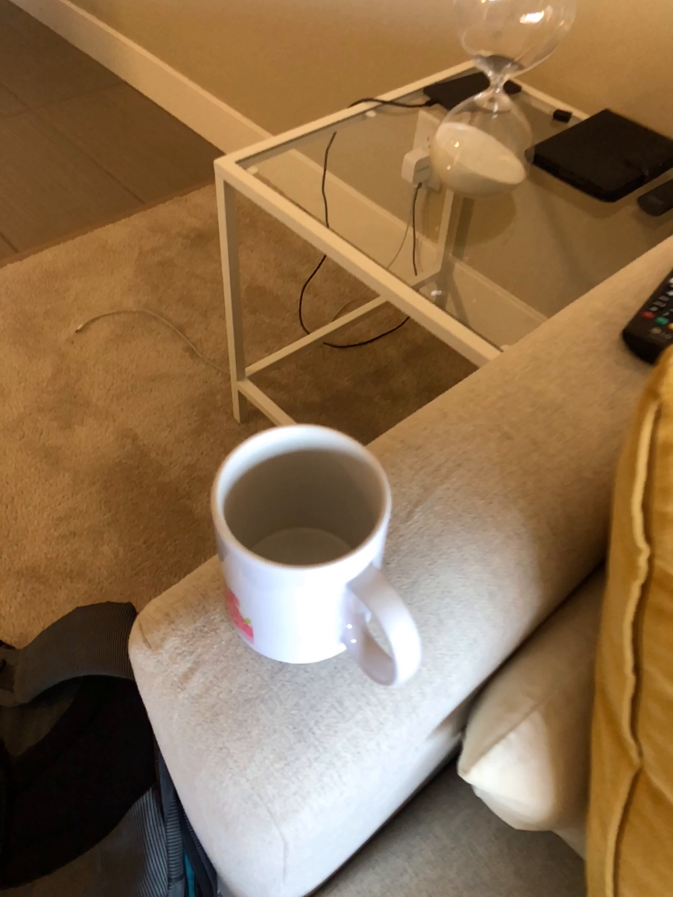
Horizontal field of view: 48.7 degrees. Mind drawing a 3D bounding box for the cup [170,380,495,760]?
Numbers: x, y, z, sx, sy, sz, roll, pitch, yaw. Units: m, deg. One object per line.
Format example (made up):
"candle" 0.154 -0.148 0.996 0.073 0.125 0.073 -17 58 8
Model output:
"cup" -0.007 0.055 0.348 0.080 0.100 0.120 -28 57 -25
